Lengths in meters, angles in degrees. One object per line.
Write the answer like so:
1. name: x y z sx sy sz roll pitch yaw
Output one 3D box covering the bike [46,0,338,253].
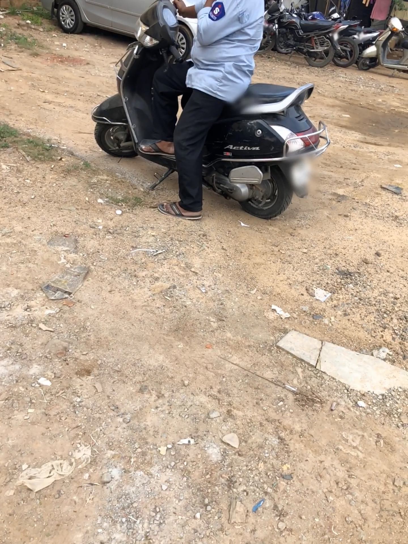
1. bike: -0.163 -0.945 2.673 1.523 1.102 0.578 24 35 28
